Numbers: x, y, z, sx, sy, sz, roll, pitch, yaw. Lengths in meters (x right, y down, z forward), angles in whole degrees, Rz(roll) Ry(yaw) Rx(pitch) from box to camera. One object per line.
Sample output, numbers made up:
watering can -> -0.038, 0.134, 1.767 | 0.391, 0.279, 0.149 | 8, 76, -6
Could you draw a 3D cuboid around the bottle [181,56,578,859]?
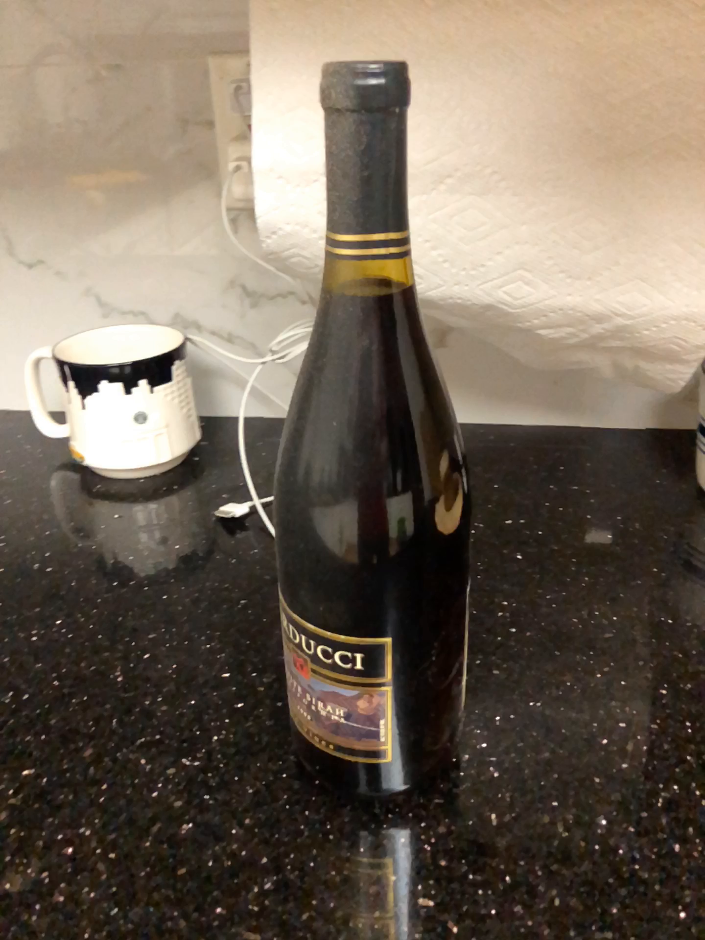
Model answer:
bottle -> 0.011, 0.002, 0.317 | 0.090, 0.298, 0.090 | -1, 27, 1
